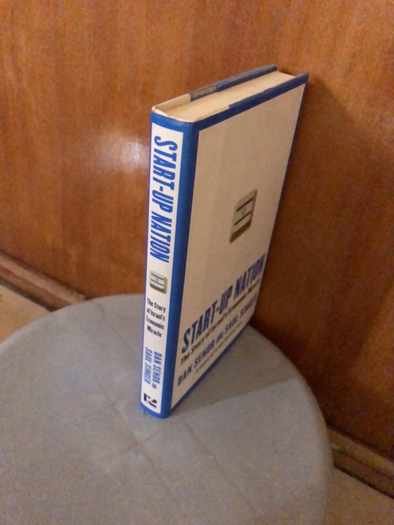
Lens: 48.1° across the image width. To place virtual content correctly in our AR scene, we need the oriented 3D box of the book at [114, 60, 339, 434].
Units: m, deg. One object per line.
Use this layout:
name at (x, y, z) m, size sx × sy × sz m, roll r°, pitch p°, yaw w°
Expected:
book at (0.023, -0.020, 0.337) m, size 0.040 × 0.229 × 0.201 m, roll 25°, pitch 37°, yaw 26°
